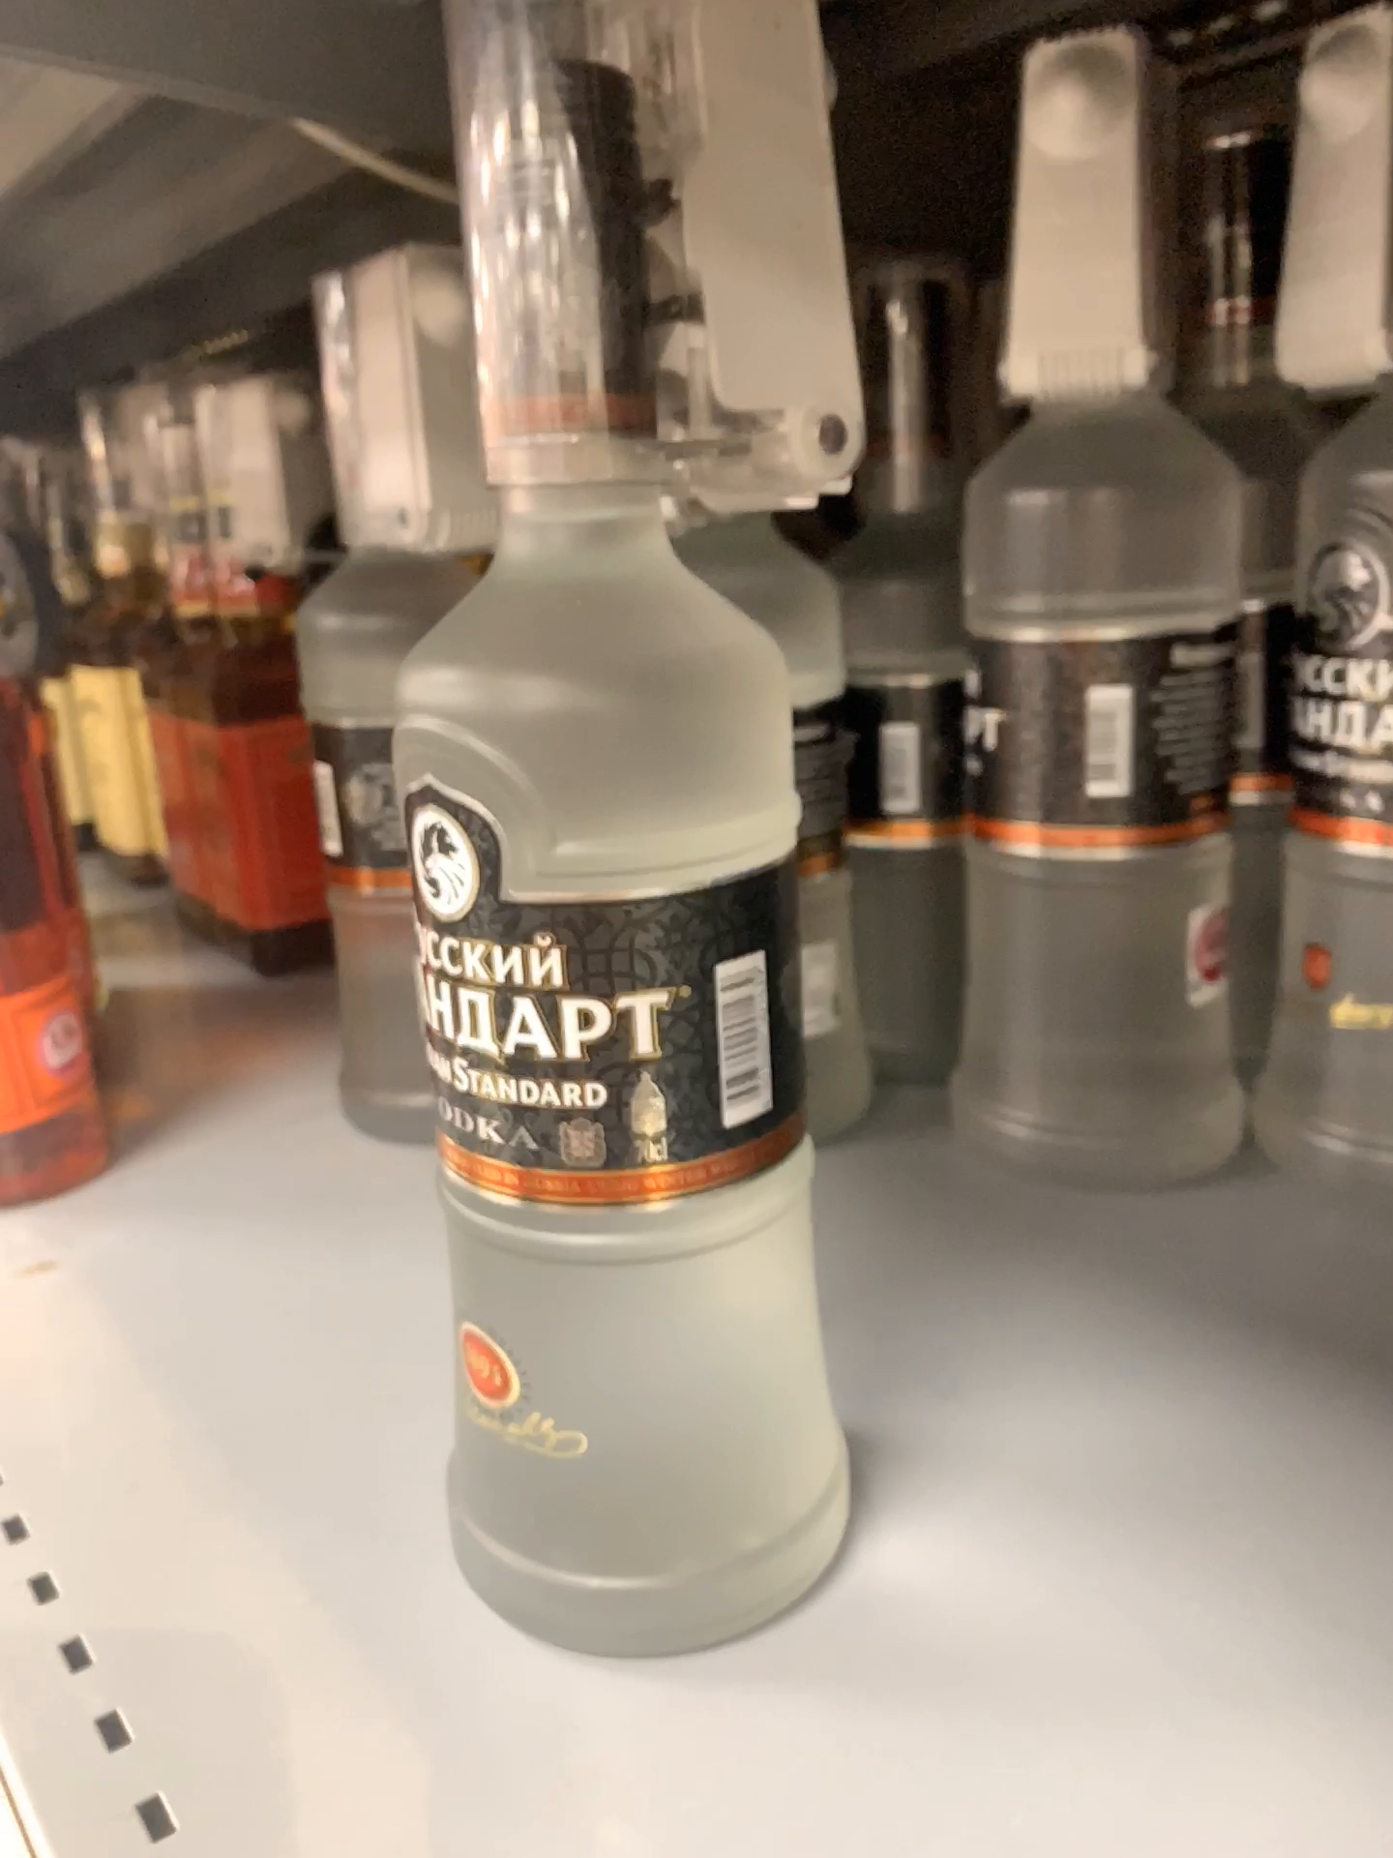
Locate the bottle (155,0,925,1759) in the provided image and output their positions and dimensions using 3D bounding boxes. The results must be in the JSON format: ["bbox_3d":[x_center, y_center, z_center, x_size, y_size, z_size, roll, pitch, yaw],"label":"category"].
[{"bbox_3d":[-0.024,-0.013,0.278,0.088,0.288,0.092,-3,14,1],"label":"bottle"}]
